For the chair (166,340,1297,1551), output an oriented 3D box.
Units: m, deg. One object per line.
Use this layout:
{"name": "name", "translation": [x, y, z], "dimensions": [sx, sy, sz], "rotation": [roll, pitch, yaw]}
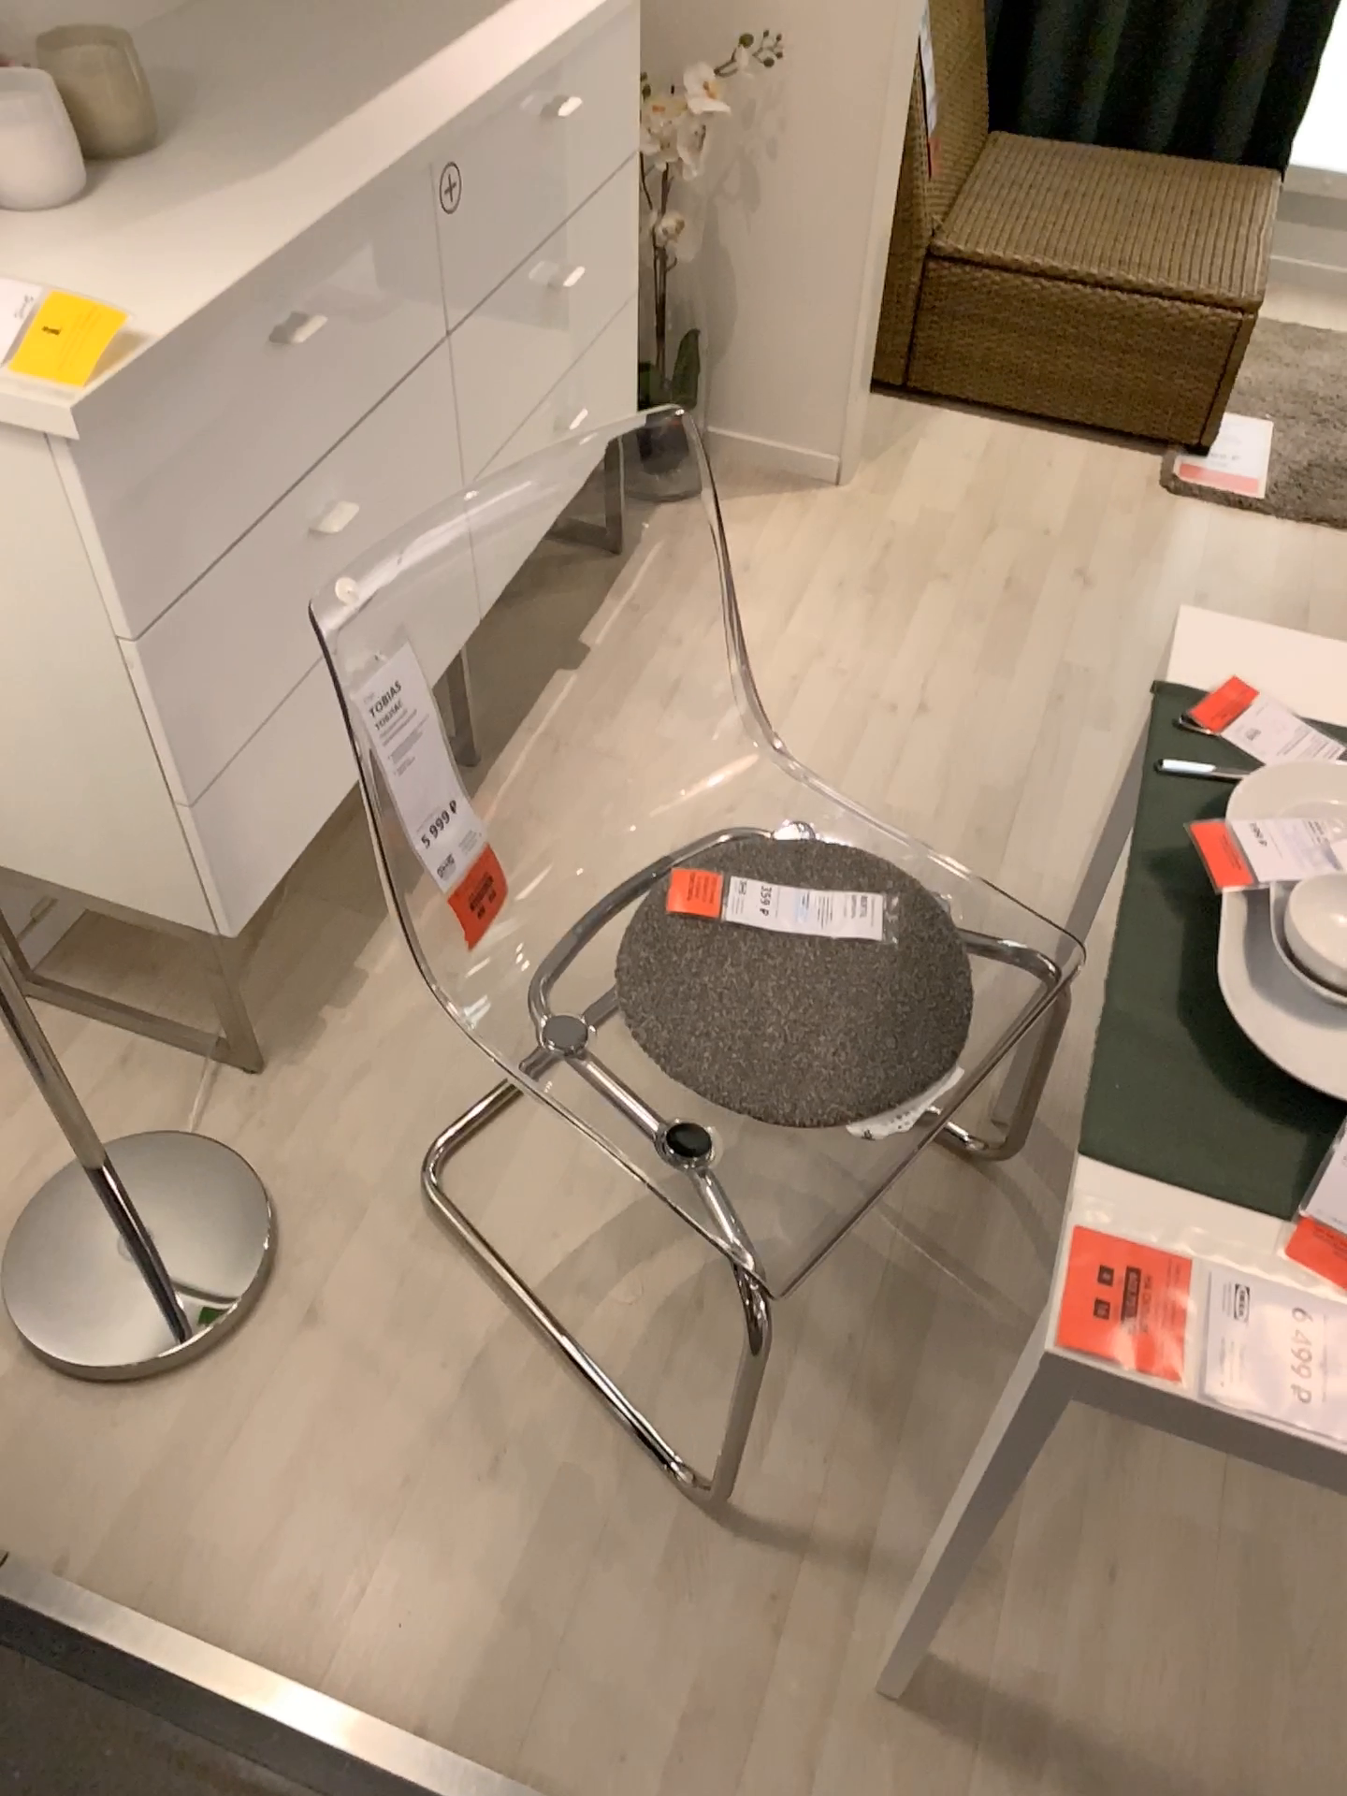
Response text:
{"name": "chair", "translation": [0.040, 0.052, 1.307], "dimensions": [0.592, 0.792, 0.592], "rotation": [35, 56, 25]}
